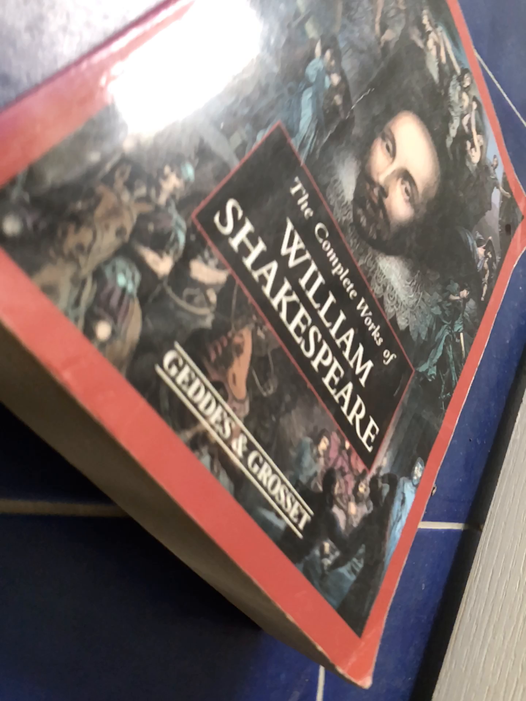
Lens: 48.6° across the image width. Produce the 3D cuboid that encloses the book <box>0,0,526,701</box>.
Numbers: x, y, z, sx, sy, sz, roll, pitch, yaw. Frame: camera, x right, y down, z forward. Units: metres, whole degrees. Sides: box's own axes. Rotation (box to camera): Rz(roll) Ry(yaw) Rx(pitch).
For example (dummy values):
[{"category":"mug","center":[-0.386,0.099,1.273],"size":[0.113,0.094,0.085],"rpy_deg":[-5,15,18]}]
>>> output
[{"category":"book","center":[0.034,-0.054,0.230],"size":[0.211,0.060,0.271],"rpy_deg":[55,51,-29]}]
